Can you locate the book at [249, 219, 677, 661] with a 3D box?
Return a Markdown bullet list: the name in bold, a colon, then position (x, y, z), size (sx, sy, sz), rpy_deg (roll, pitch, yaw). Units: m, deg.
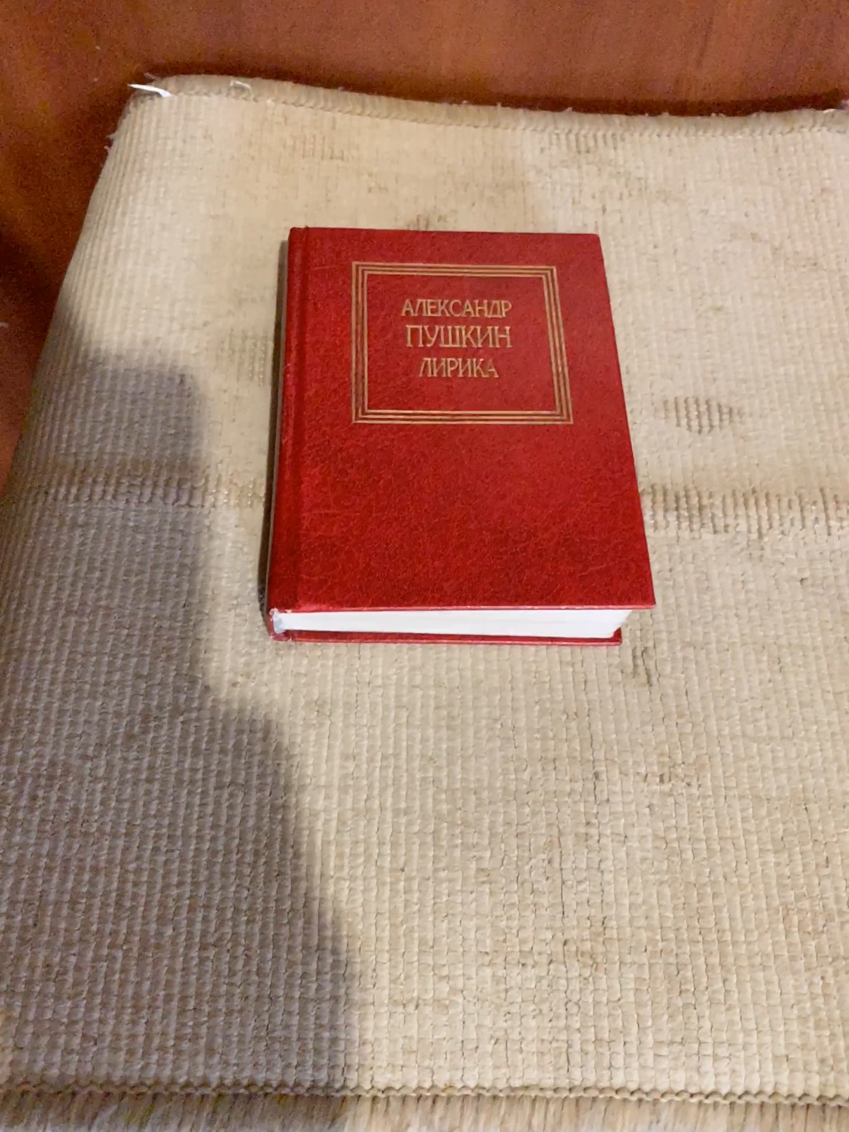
- **book**: position (0.010, -0.045, 0.292), size (0.119, 0.034, 0.149), rpy_deg (1, 65, -3)
